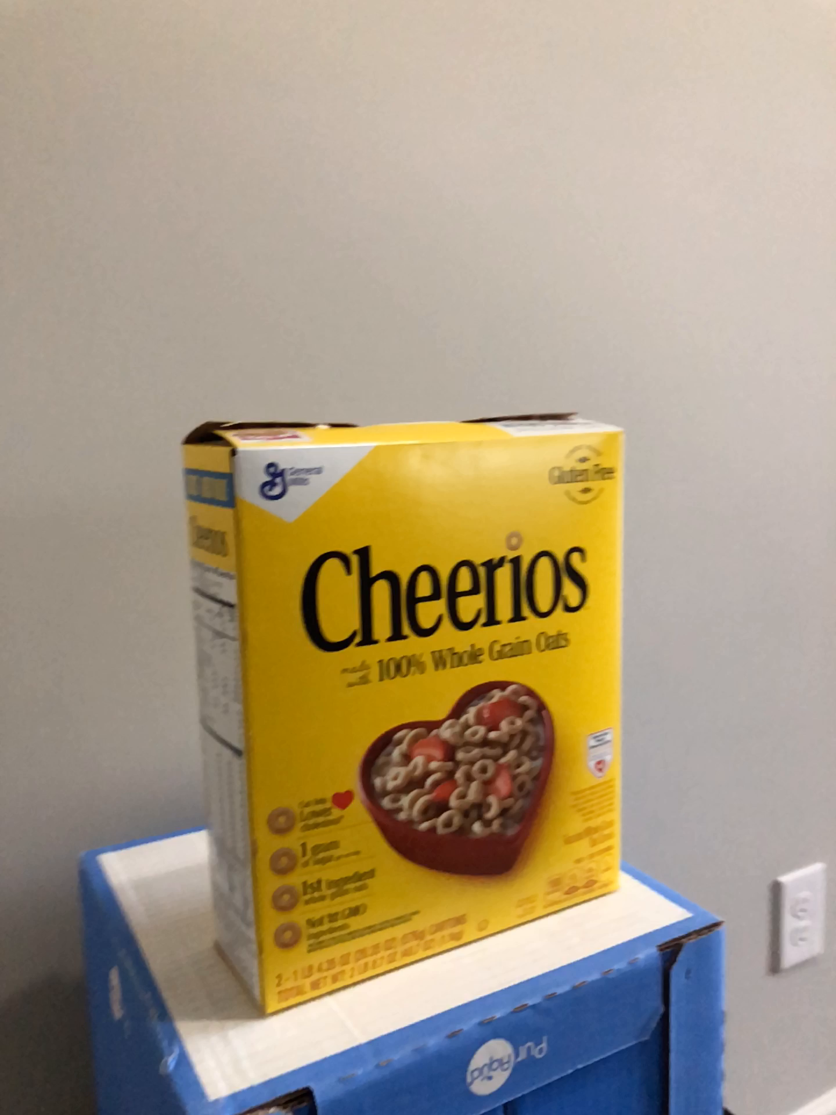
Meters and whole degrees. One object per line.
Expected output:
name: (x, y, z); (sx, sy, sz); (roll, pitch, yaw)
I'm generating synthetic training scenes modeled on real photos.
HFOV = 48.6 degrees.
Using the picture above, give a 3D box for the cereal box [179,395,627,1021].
cereal box: (0.001, 0.065, 0.546); (0.240, 0.310, 0.090); (-6, 9, -29)
